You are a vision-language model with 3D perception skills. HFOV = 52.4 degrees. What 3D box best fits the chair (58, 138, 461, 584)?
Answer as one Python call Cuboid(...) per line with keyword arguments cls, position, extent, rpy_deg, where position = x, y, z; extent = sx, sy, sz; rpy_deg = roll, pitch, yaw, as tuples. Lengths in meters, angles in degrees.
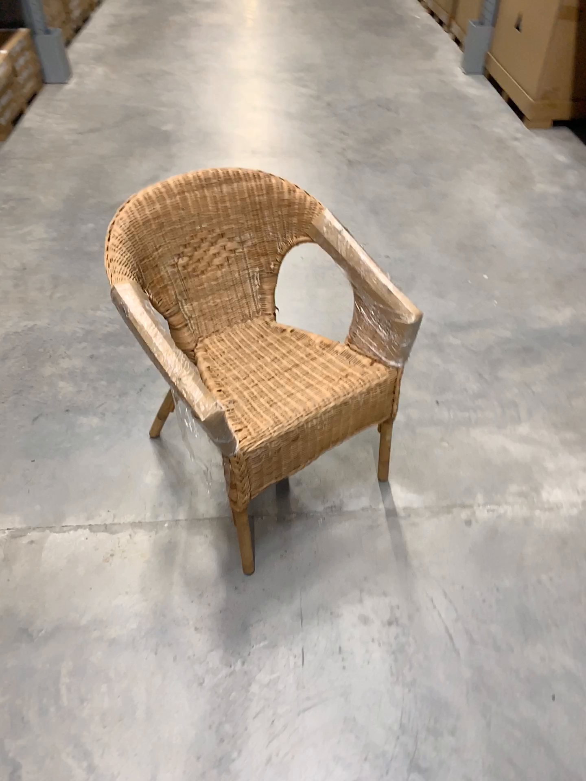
Cuboid(cls="chair", position=(-0.090, -0.094, 1.539), extent=(0.601, 0.757, 0.652), rpy_deg=(-28, 51, -25))
